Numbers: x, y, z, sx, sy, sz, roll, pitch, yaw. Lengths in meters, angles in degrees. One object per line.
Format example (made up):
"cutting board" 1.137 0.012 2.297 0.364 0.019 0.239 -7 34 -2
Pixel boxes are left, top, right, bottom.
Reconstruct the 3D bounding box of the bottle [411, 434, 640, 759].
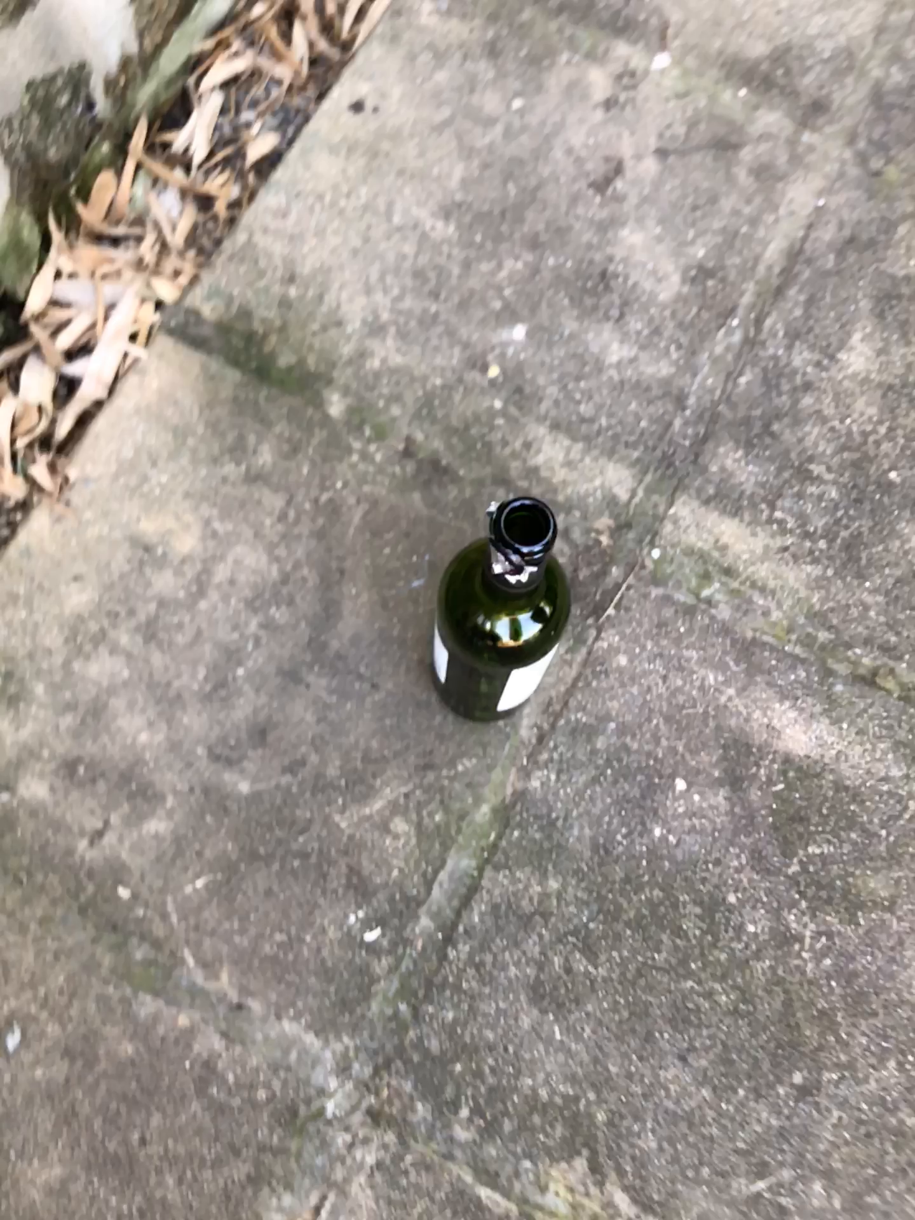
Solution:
"bottle" 0.024 0.013 0.574 0.080 0.289 0.090 13 74 1
